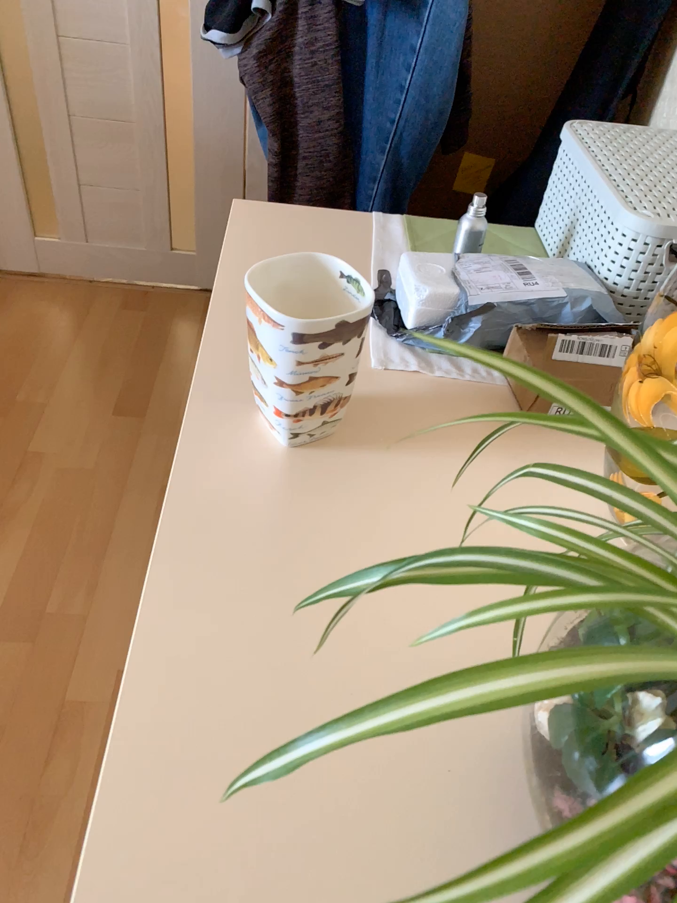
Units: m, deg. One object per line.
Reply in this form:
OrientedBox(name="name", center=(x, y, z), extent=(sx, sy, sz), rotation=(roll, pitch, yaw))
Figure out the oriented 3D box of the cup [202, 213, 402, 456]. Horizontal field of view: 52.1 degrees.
OrientedBox(name="cup", center=(-0.037, -0.098, 0.559), extent=(0.092, 0.121, 0.139), rotation=(-21, 51, -27))
